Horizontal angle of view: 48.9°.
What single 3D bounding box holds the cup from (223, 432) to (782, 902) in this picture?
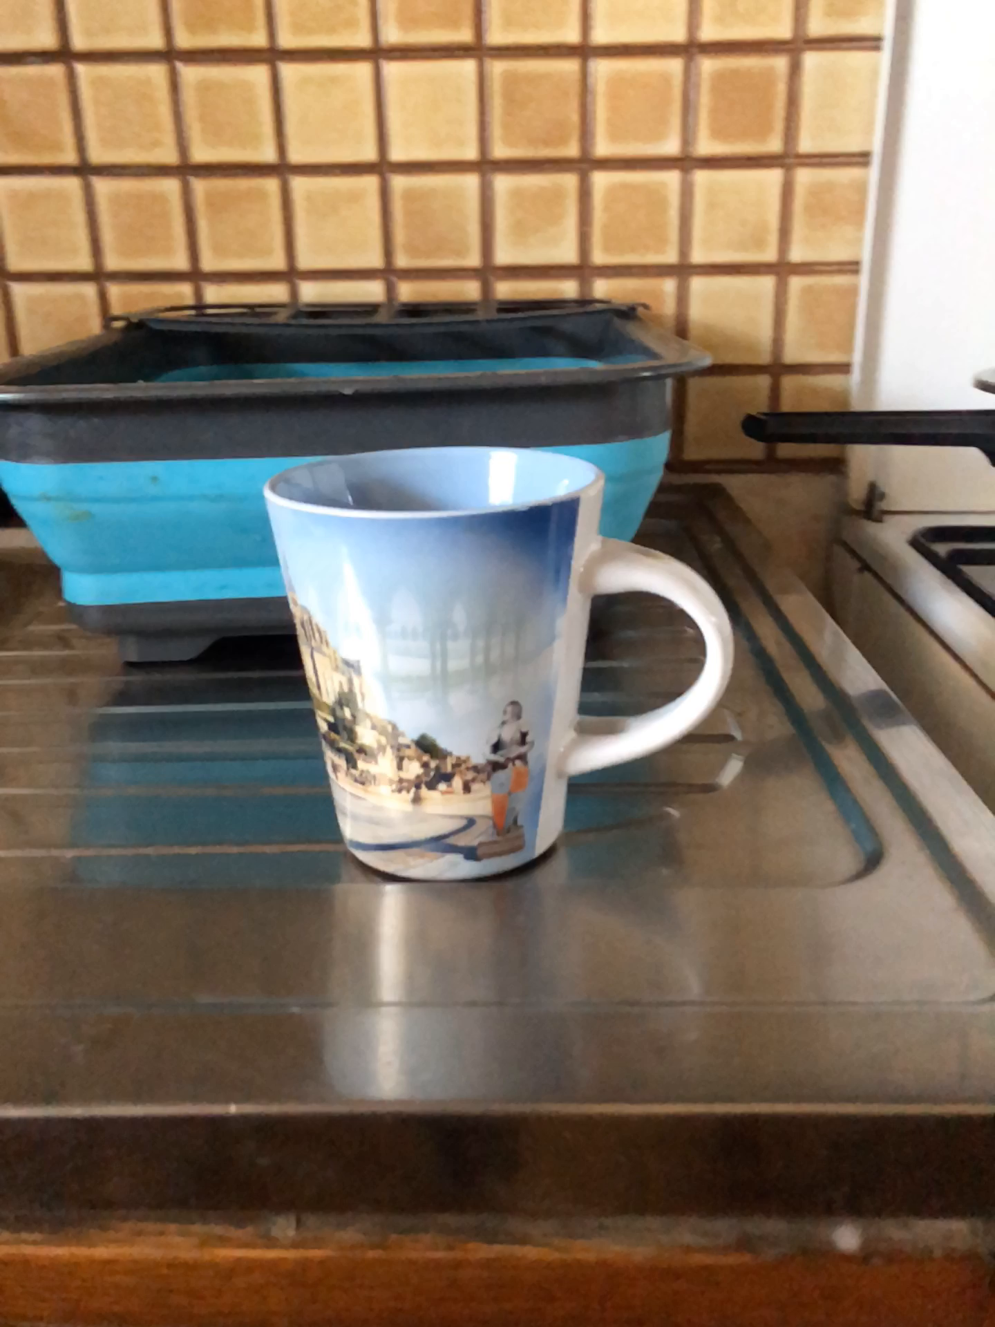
[{"bbox_3d":[0.007,-0.007,0.315,0.130,0.100,0.101,3,21,8],"label":"cup"}]
